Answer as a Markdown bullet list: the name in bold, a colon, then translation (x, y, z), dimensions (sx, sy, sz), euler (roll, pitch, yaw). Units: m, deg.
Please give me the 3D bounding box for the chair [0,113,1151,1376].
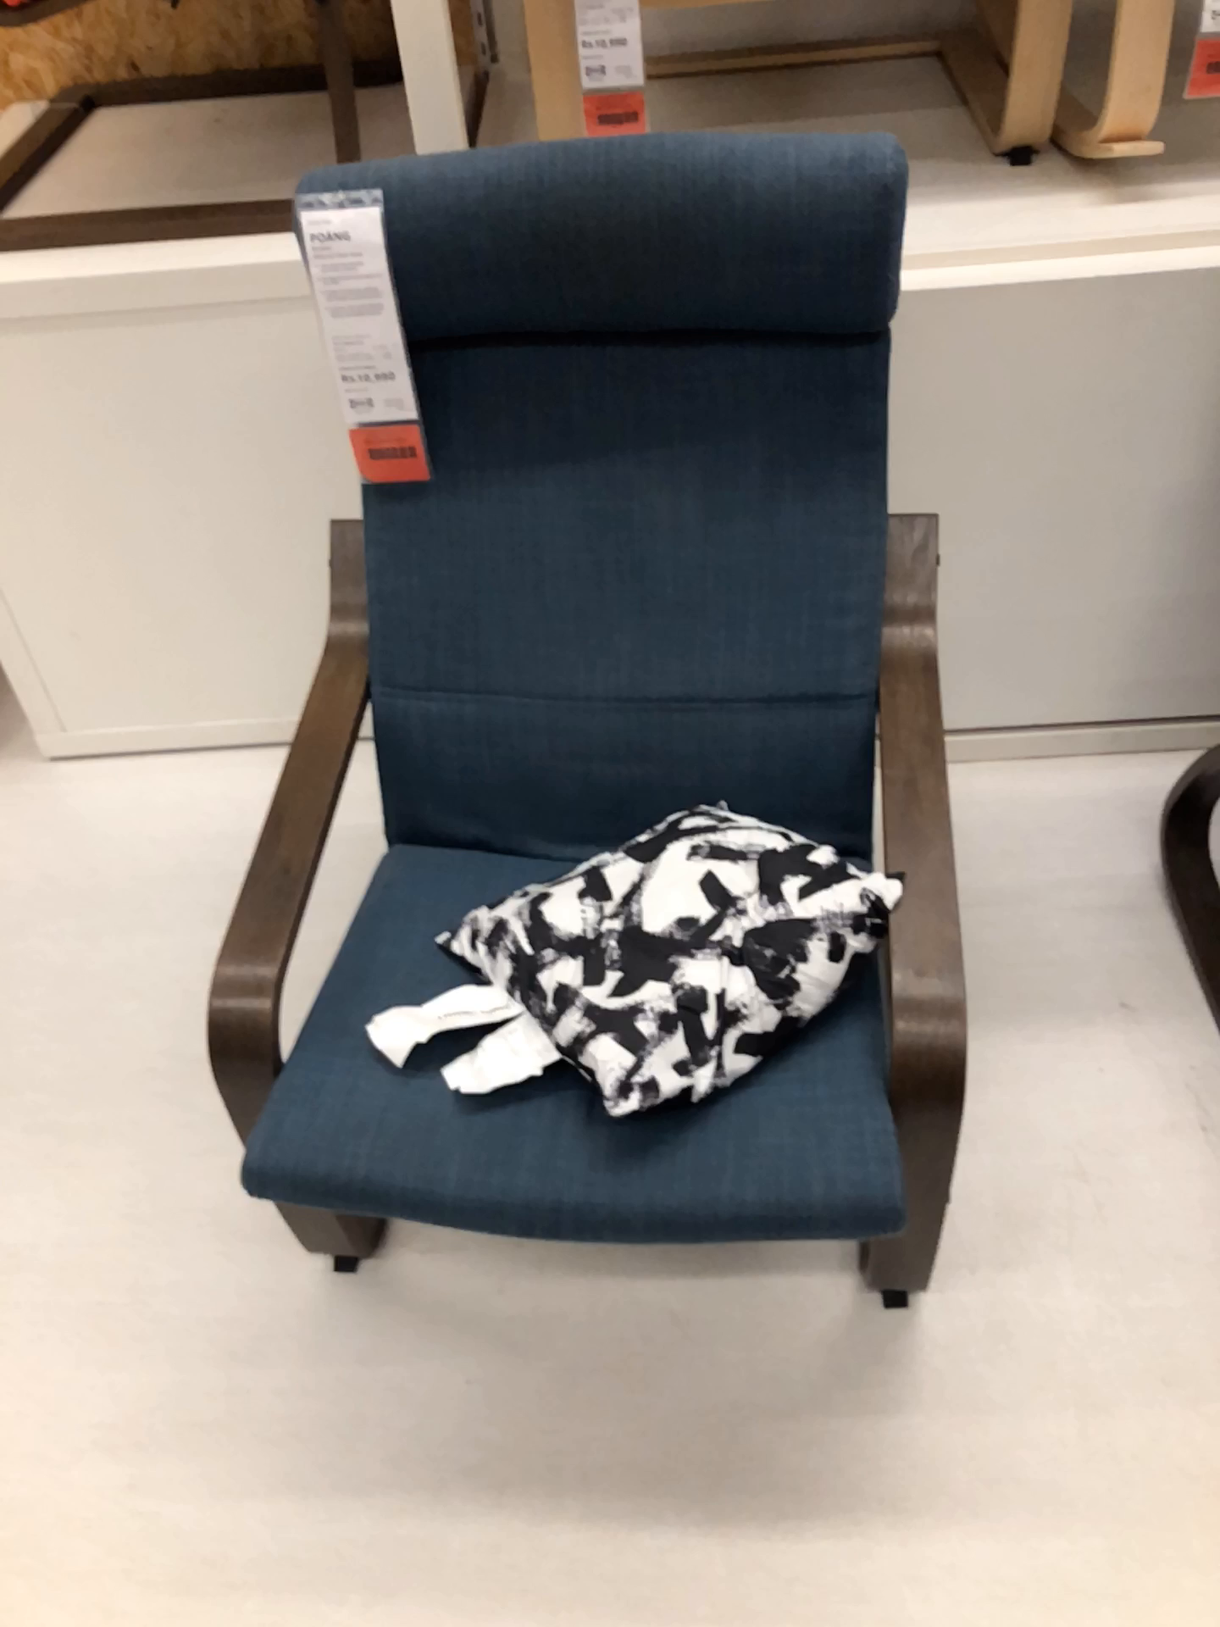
- **chair**: translation (-0.013, -0.049, 1.253), dimensions (0.720, 0.884, 0.694), euler (2, 44, 9)
